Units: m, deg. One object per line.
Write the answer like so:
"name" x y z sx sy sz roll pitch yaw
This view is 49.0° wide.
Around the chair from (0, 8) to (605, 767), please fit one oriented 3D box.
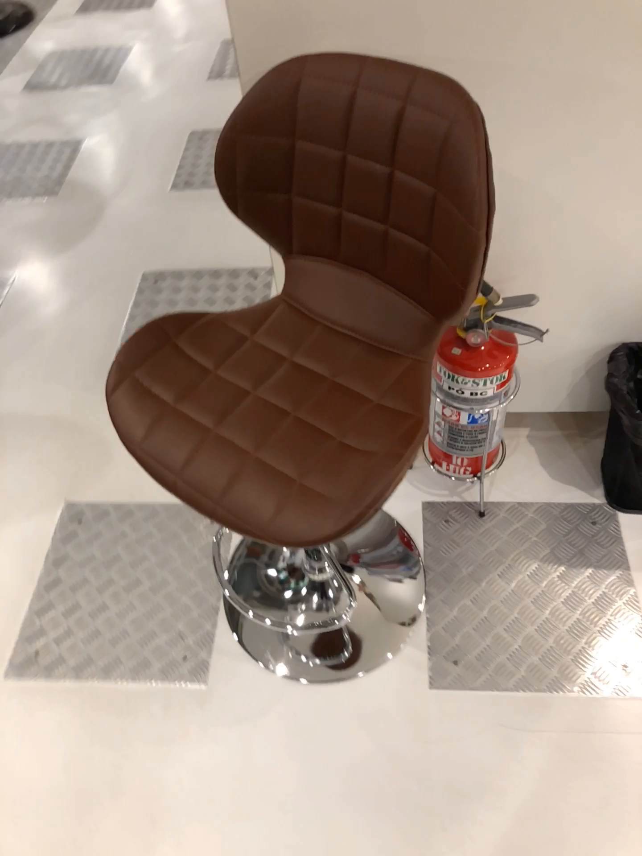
"chair" -0.043 0.001 1.078 0.542 0.924 0.491 34 61 29
